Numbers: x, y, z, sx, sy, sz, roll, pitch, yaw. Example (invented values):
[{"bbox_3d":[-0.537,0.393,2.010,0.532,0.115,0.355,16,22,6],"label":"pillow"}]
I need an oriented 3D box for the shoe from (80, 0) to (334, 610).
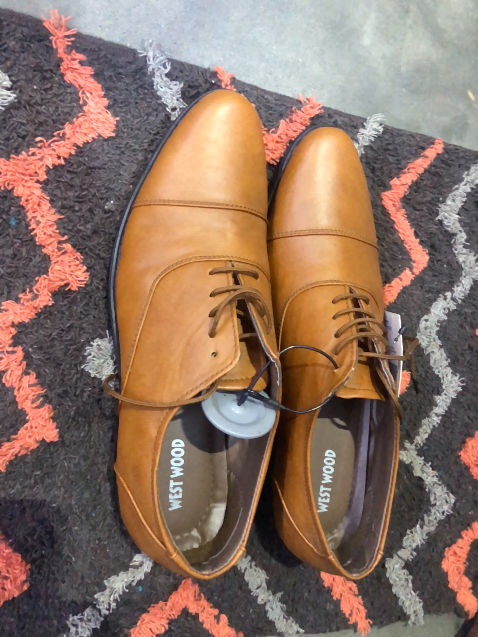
[{"bbox_3d":[-0.021,-0.008,0.315,0.110,0.070,0.310,5,89,-22],"label":"shoe"}]

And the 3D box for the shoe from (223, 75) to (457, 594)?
[{"bbox_3d":[0.066,0.012,0.363,0.110,0.080,0.300,5,89,-22],"label":"shoe"}]
